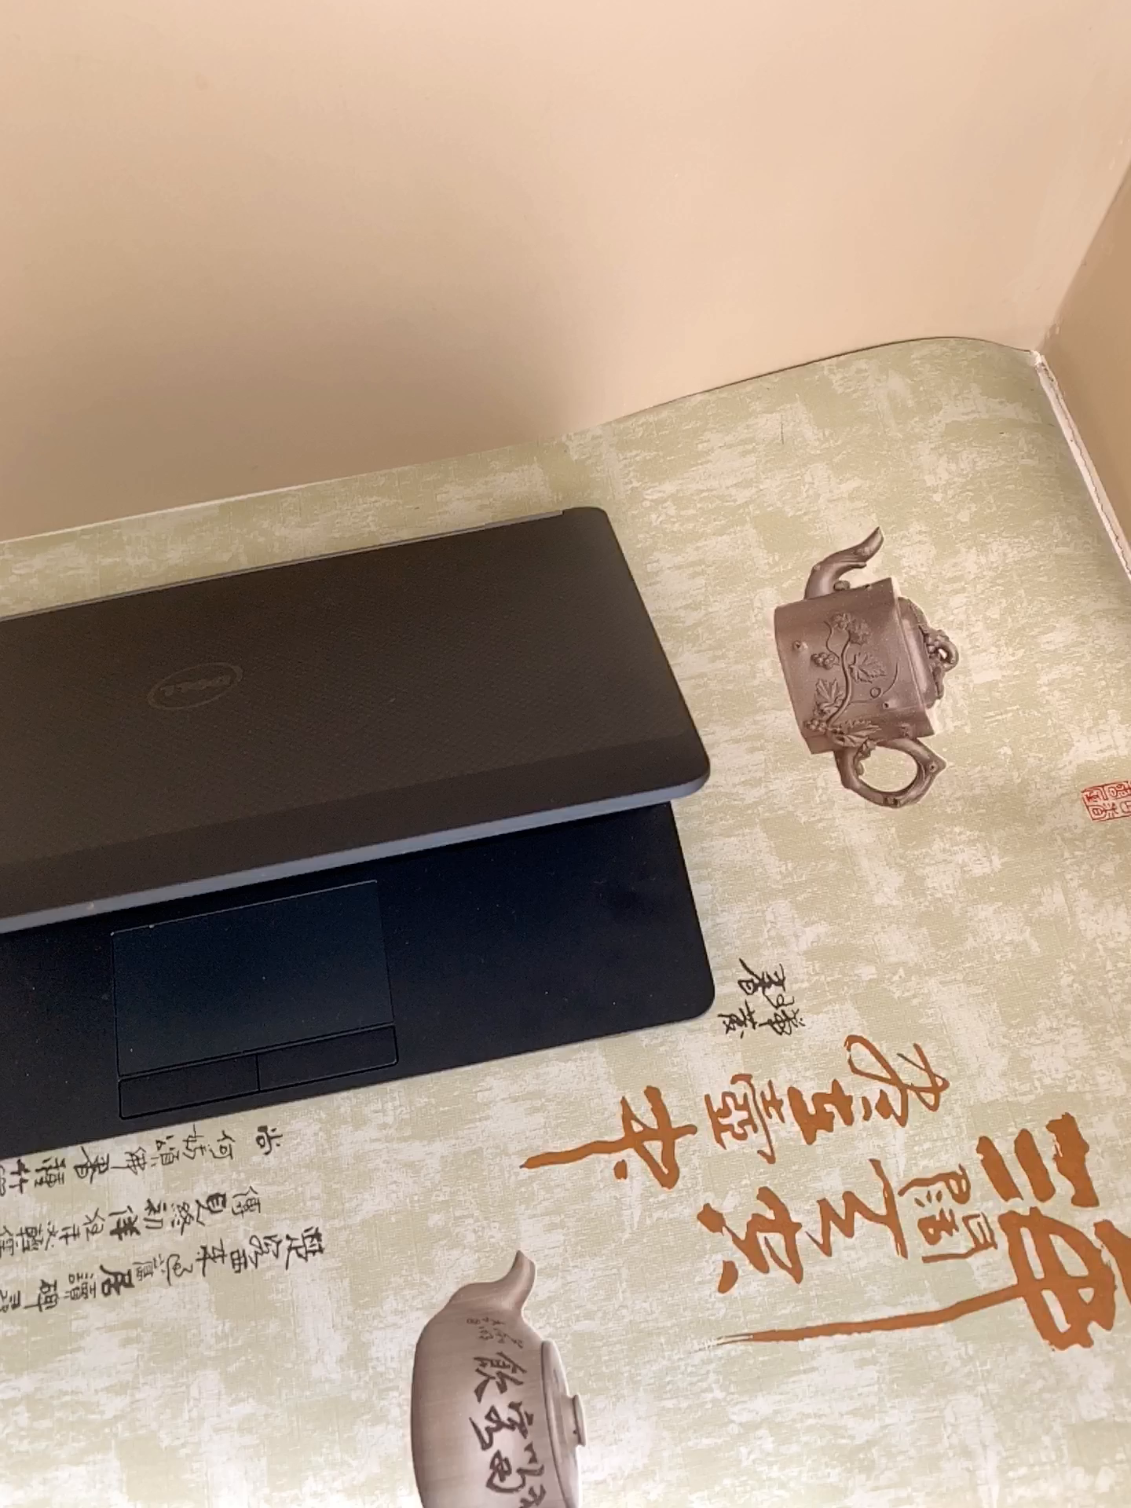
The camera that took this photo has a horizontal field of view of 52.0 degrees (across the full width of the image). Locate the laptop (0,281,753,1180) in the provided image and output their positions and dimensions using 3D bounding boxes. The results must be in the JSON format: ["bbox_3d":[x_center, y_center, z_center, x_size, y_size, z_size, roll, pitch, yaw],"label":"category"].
[{"bbox_3d":[-0.121,0.000,0.388,0.308,0.136,0.212,-11,67,0],"label":"laptop"}]
